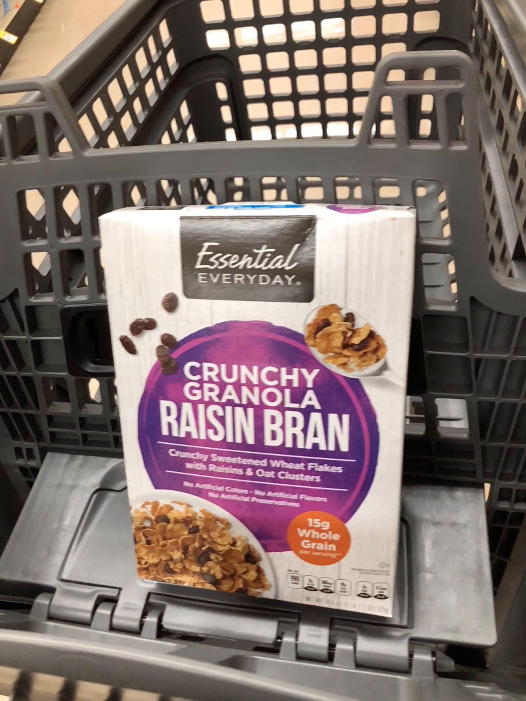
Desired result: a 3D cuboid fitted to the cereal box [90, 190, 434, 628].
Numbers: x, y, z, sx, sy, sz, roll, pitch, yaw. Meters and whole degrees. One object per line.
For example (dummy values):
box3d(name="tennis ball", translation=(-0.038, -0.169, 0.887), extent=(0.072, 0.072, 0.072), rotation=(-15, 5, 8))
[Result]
box3d(name="cereal box", translation=(0.004, 0.037, 0.403), extent=(0.200, 0.280, 0.070), rotation=(2, 17, 13))
